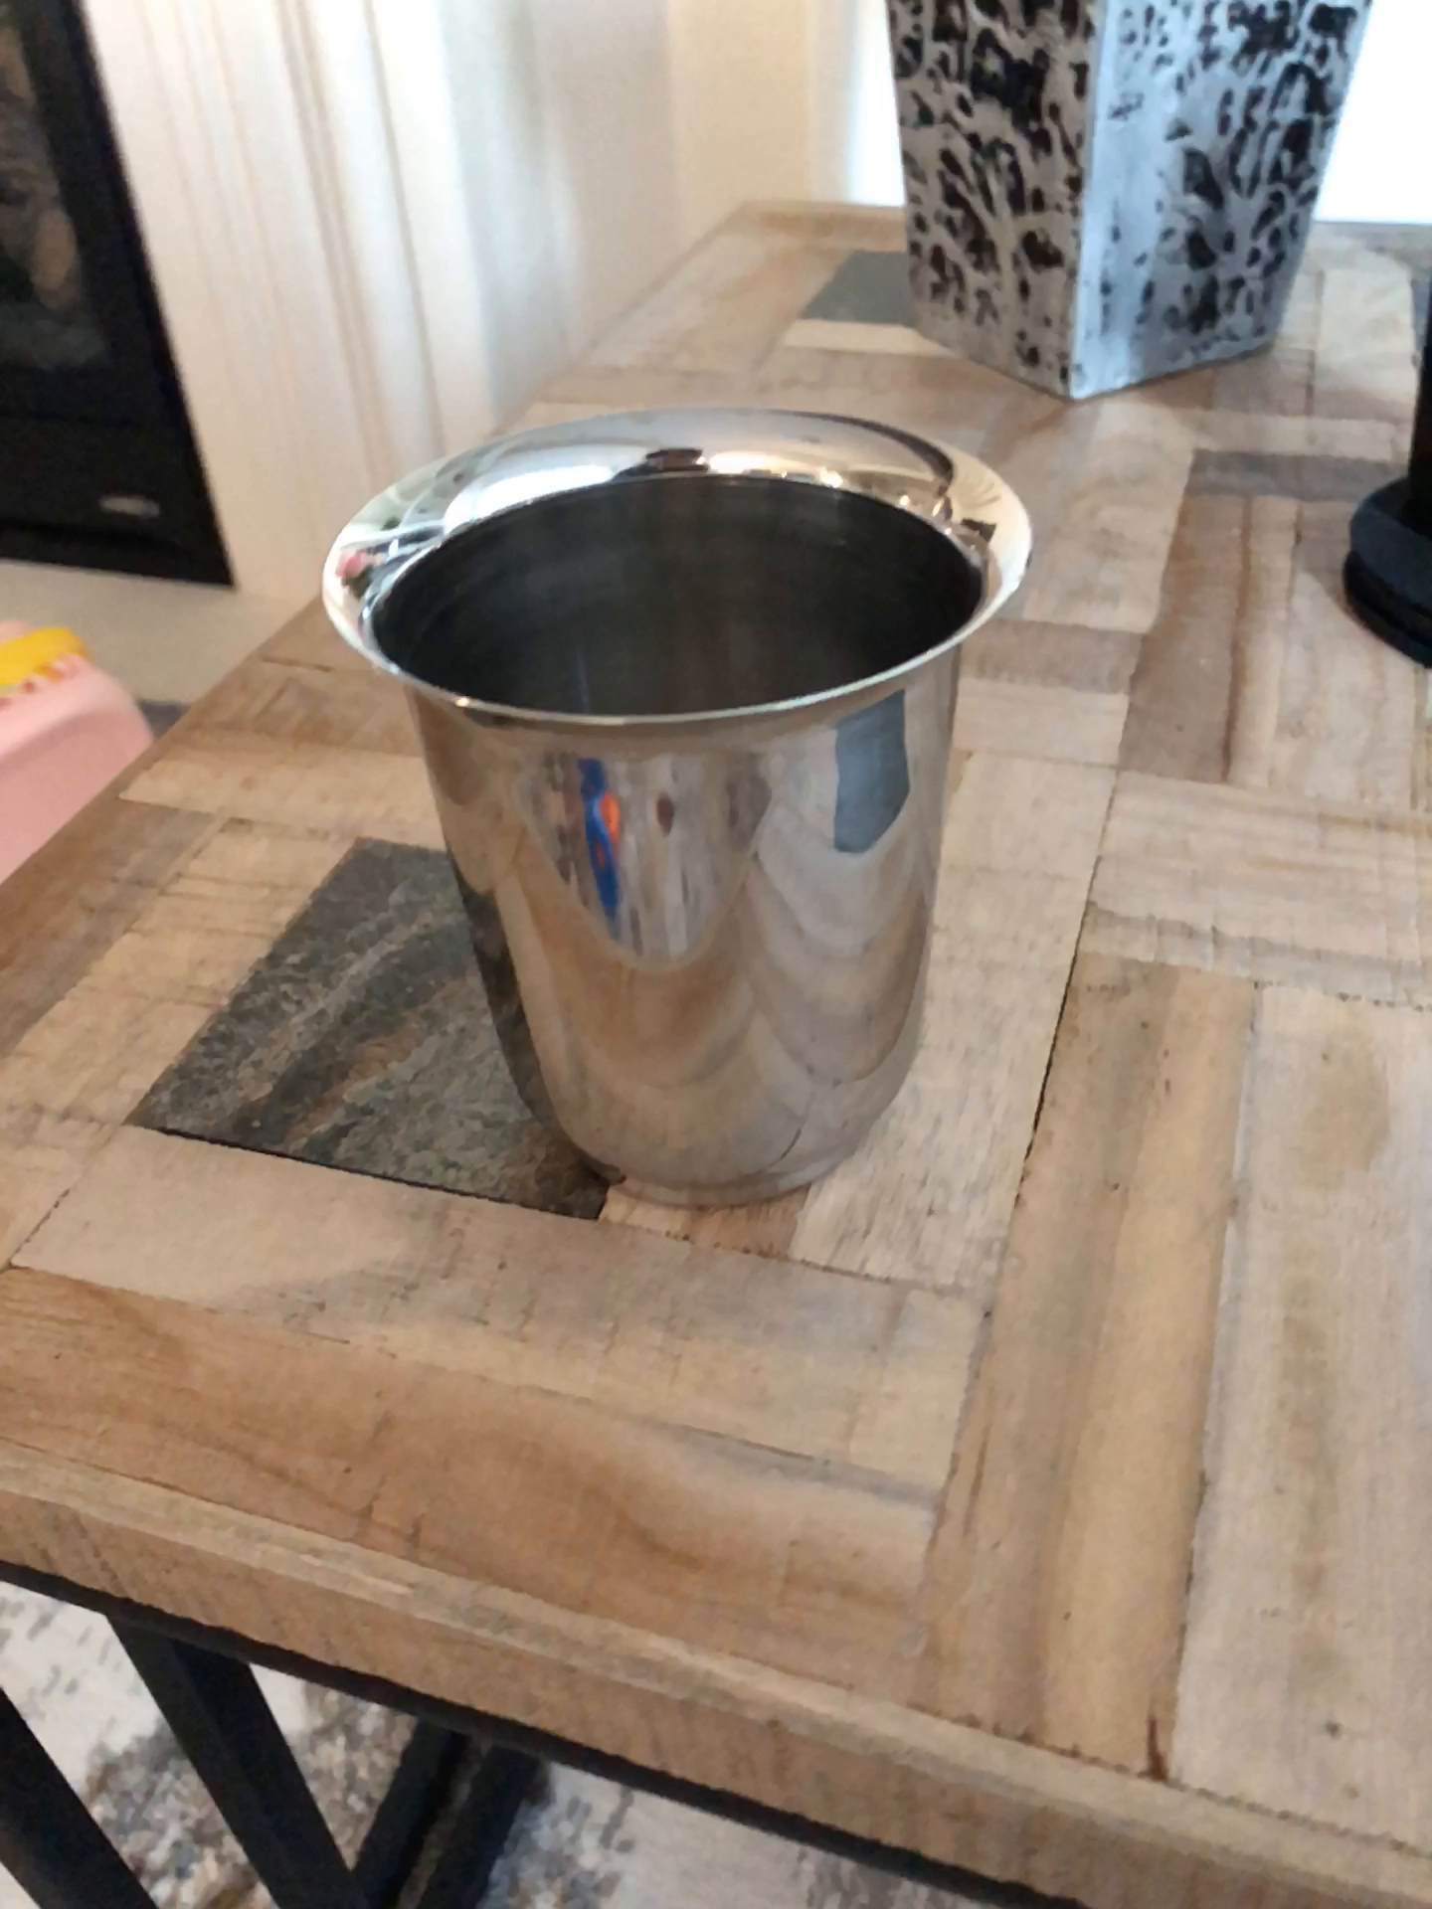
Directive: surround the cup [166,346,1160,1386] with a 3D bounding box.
[{"bbox_3d":[-0.004,-0.018,0.218,0.085,0.088,0.082,-2,39,2],"label":"cup"}]
